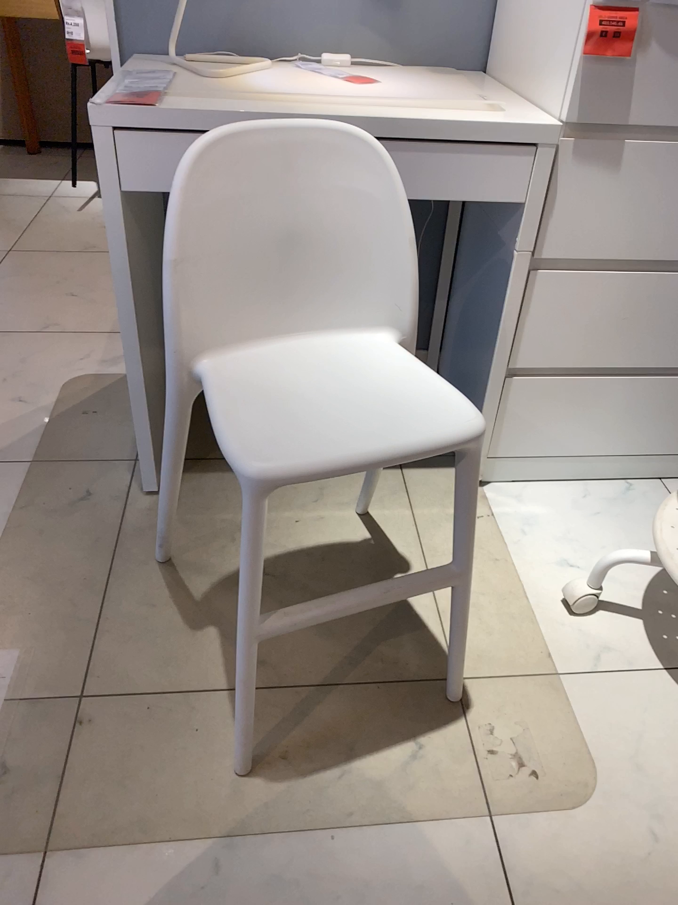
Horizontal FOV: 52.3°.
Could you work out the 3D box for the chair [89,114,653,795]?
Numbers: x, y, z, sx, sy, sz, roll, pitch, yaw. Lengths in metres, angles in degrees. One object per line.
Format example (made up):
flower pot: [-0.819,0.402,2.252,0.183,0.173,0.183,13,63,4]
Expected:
chair: [-0.031,-0.014,0.958,0.450,0.727,0.492,-10,39,-18]
